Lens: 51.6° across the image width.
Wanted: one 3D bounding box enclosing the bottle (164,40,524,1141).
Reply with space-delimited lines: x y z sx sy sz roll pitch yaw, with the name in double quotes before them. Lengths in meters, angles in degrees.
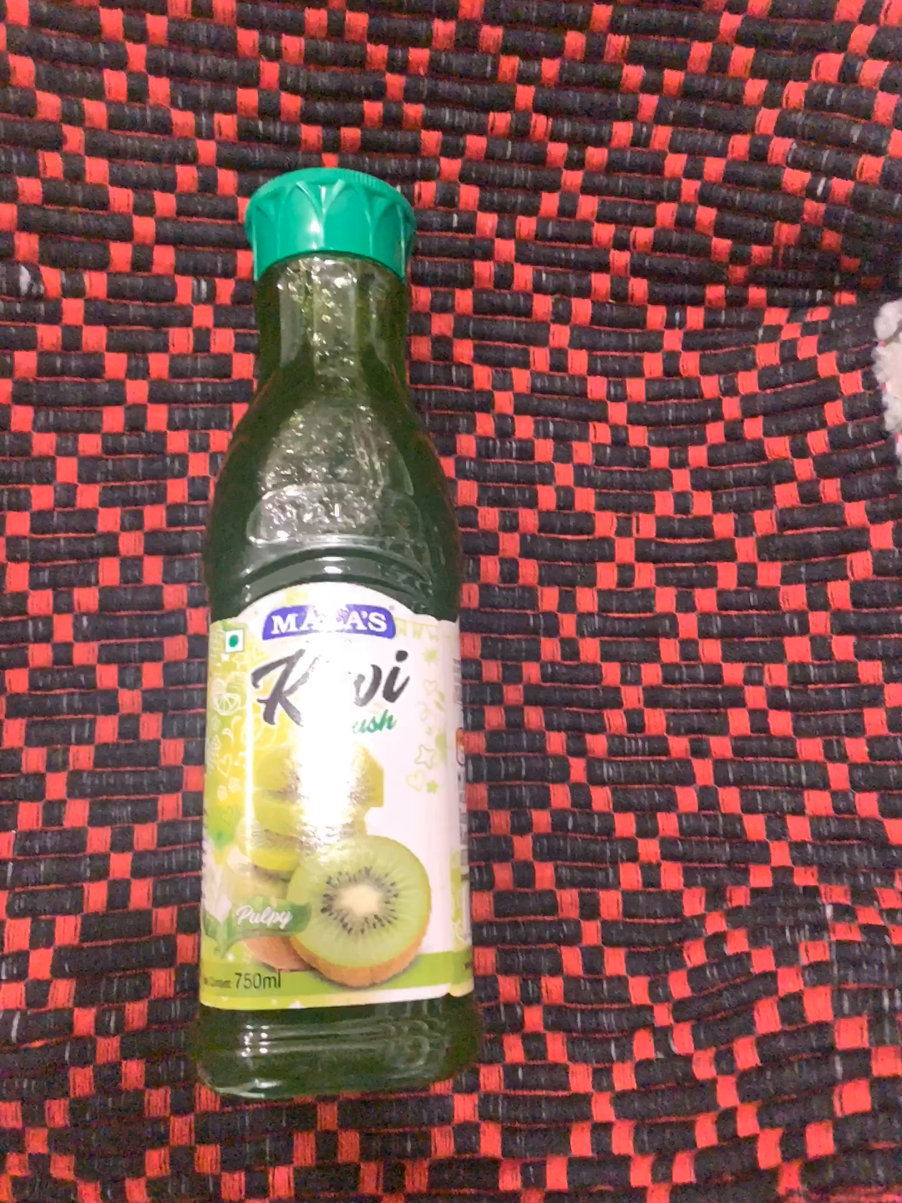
"bottle" -0.030 -0.012 0.255 0.070 0.080 0.260 0 74 -9
